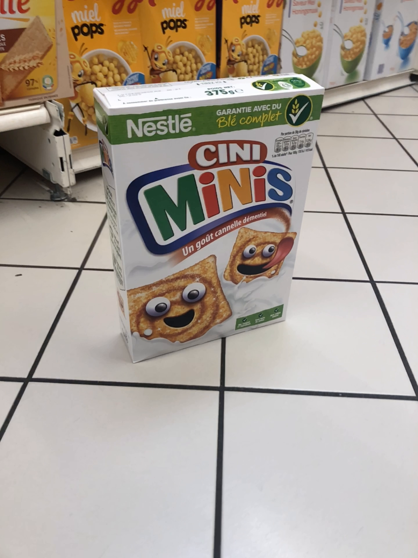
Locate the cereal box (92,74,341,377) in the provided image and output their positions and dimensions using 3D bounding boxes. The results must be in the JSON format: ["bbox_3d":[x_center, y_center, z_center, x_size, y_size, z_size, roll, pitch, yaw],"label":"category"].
[{"bbox_3d":[0.006,-0.049,0.465,0.201,0.268,0.070,-14,38,-21],"label":"cereal box"}]
